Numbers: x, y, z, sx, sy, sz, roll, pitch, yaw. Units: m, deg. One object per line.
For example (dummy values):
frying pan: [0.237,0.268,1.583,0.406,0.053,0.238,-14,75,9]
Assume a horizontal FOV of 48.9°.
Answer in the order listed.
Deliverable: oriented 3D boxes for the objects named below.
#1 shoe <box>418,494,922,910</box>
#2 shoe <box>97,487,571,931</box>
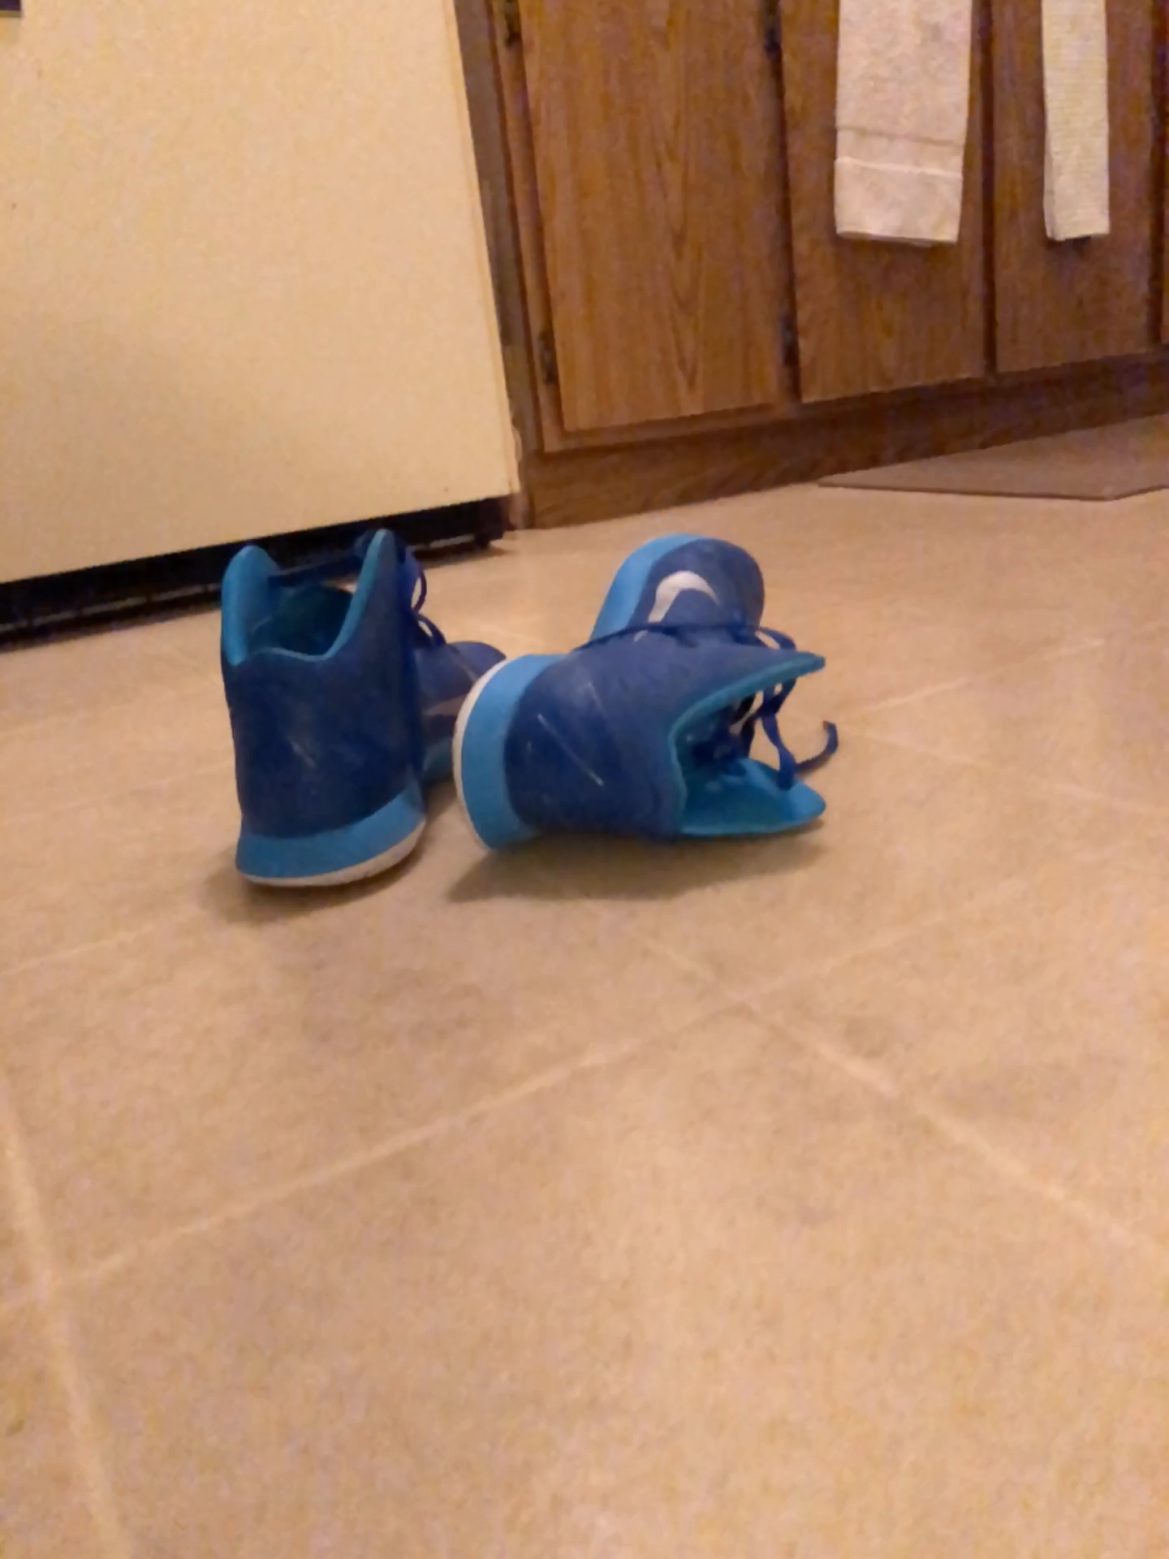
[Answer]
shoe: [0.062,-0.060,0.640,0.159,0.119,0.282,6,22,22]
shoe: [-0.103,-0.056,0.677,0.120,0.144,0.311,-3,18,12]
